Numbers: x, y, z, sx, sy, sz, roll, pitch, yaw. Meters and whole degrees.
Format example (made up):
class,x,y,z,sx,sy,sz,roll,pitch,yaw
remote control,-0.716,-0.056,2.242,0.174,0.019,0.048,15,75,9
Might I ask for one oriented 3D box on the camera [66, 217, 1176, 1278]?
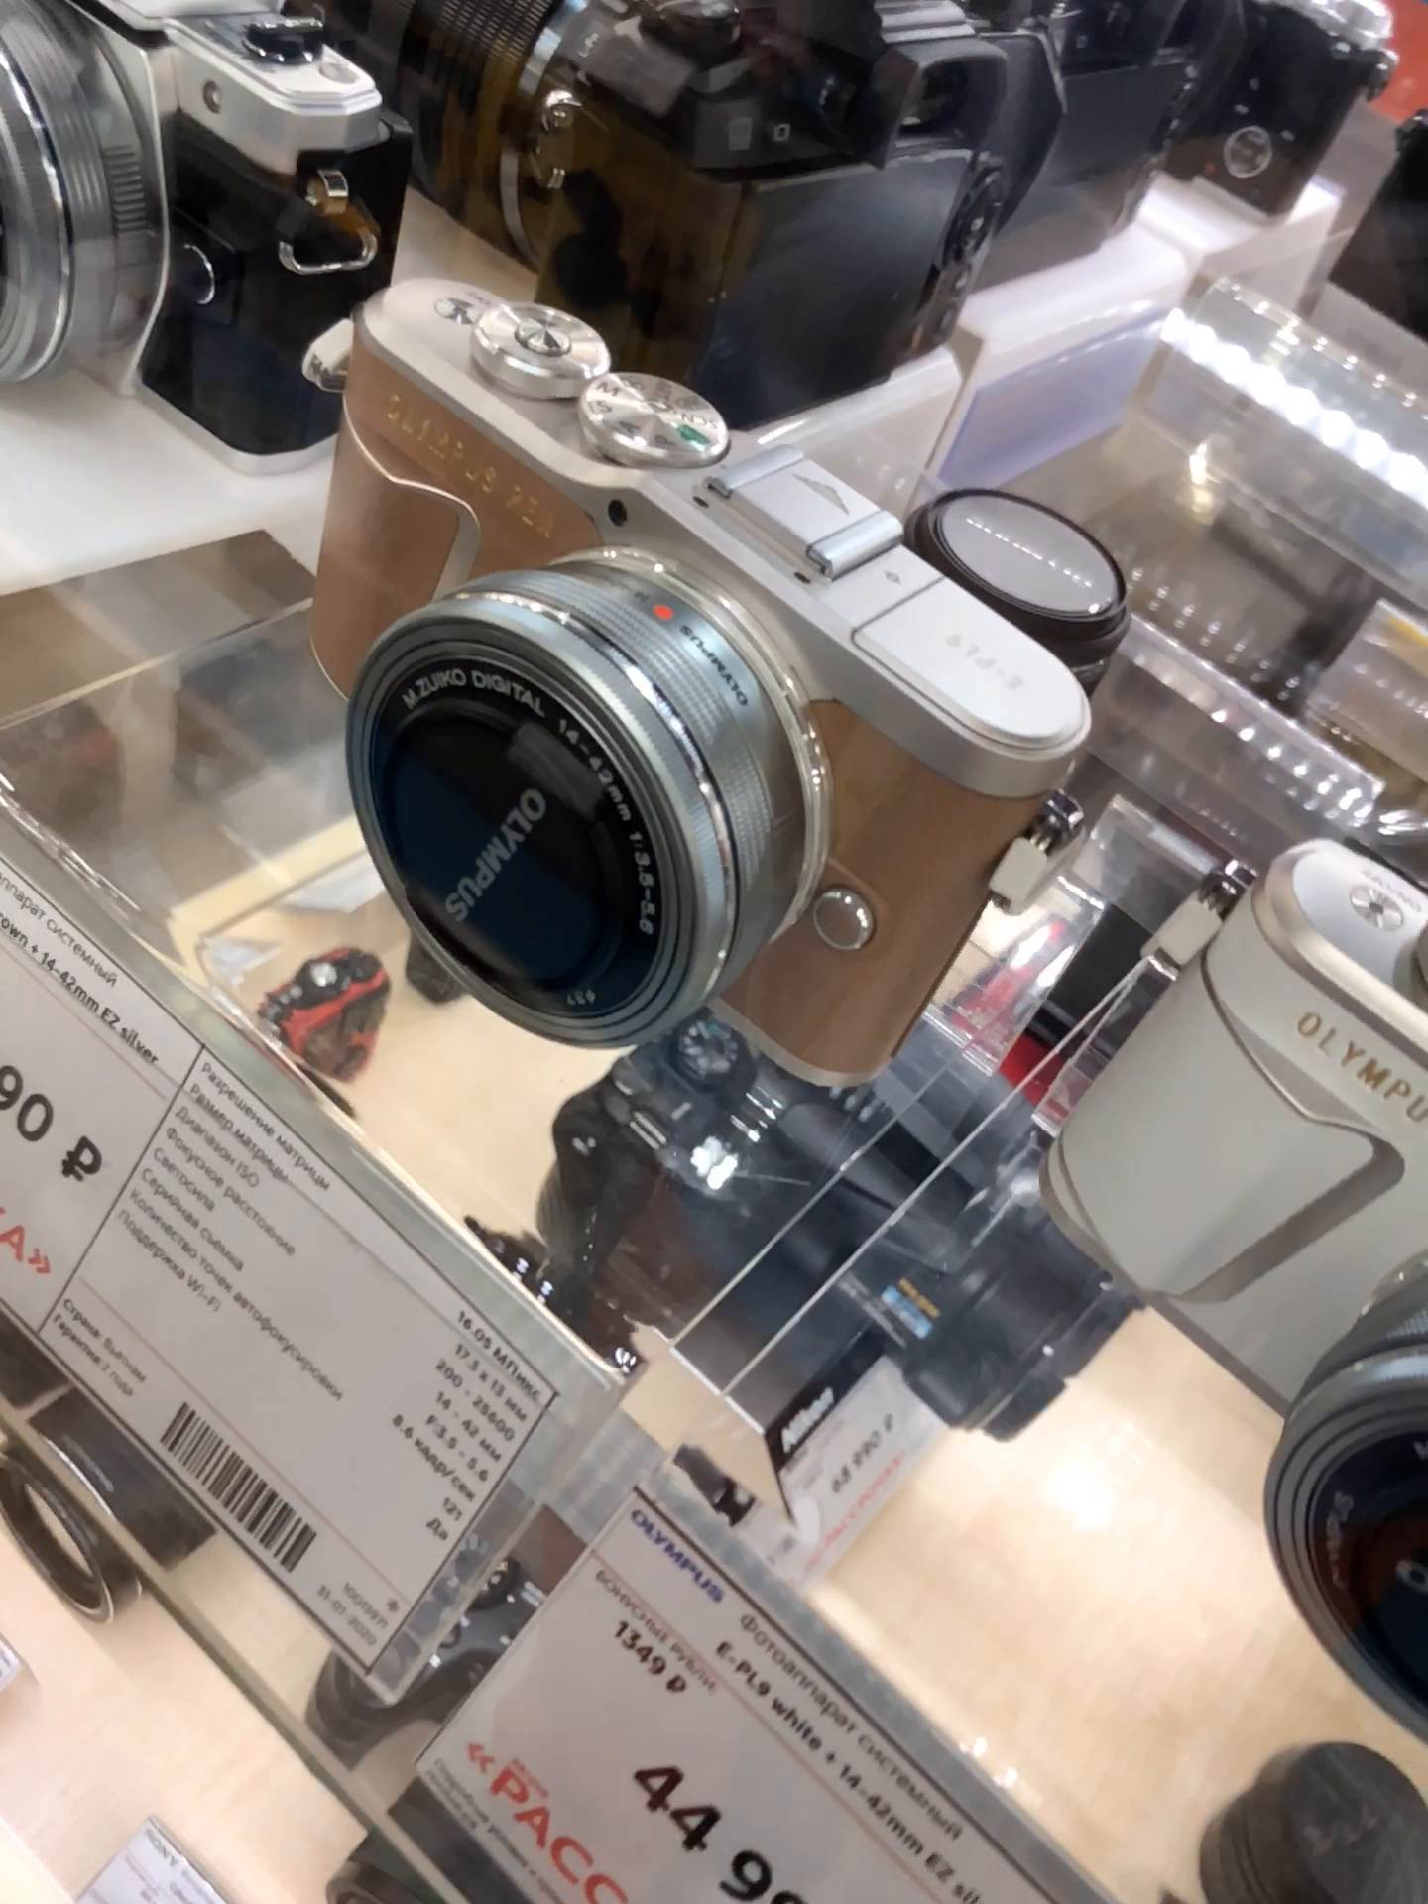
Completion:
class,x,y,z,sx,sy,sz,roll,pitch,yaw
camera,-0.018,-0.032,0.204,0.122,0.060,0.060,39,46,16

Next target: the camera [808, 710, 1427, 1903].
class,x,y,z,sx,sy,sz,roll,pitch,yaw
camera,0.083,0.042,0.168,0.122,0.060,0.060,39,46,16
